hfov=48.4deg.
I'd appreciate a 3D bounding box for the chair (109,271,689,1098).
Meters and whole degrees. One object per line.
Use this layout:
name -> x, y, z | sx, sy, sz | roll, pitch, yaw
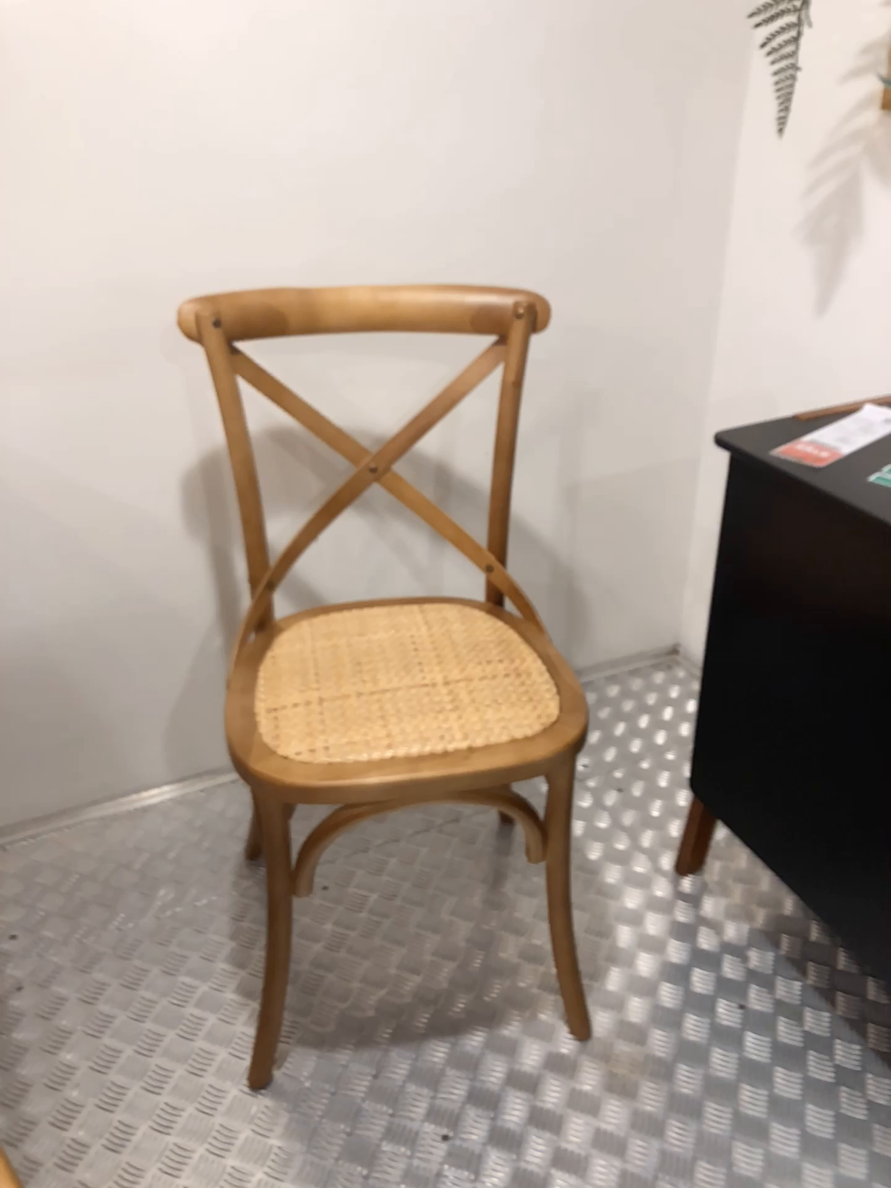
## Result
chair -> -0.068, 0.091, 1.291 | 0.500, 0.873, 0.544 | -4, 28, -7
